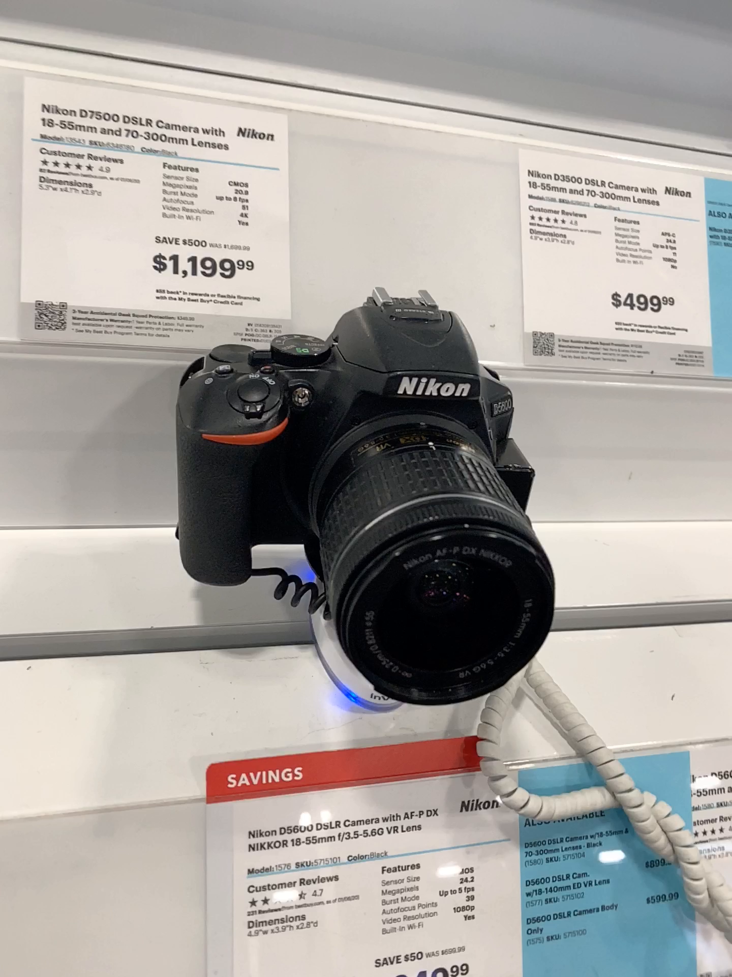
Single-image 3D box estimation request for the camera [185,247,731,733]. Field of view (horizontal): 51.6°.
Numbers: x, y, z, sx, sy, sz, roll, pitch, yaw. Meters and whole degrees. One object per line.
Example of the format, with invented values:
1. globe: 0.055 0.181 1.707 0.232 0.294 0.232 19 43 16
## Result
1. camera: 0.013 -0.006 0.235 0.130 0.090 0.121 2 32 -14
